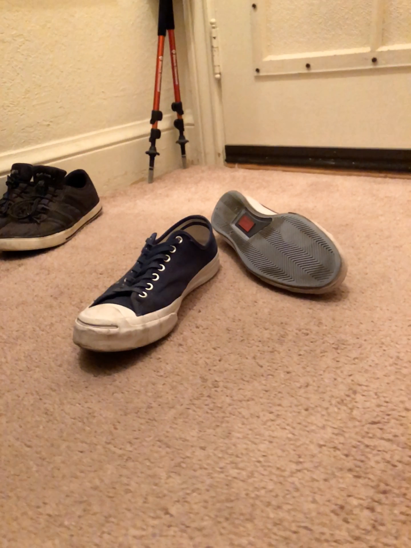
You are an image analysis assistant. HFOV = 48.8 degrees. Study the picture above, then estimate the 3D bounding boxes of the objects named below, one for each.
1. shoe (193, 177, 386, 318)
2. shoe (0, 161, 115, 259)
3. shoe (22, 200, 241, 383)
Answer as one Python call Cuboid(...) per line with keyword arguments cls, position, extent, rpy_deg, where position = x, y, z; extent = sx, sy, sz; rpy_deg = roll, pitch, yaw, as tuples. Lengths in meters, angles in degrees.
Cuboid(cls="shoe", position=(0.103, -0.053, 0.677), extent=(0.099, 0.104, 0.297), rpy_deg=(13, 15, -32))
Cuboid(cls="shoe", position=(-0.284, -0.133, 0.856), extent=(0.106, 0.099, 0.297), rpy_deg=(2, 25, 12))
Cuboid(cls="shoe", position=(-0.069, -0.001, 0.579), extent=(0.116, 0.099, 0.287), rpy_deg=(8, 29, 27))
